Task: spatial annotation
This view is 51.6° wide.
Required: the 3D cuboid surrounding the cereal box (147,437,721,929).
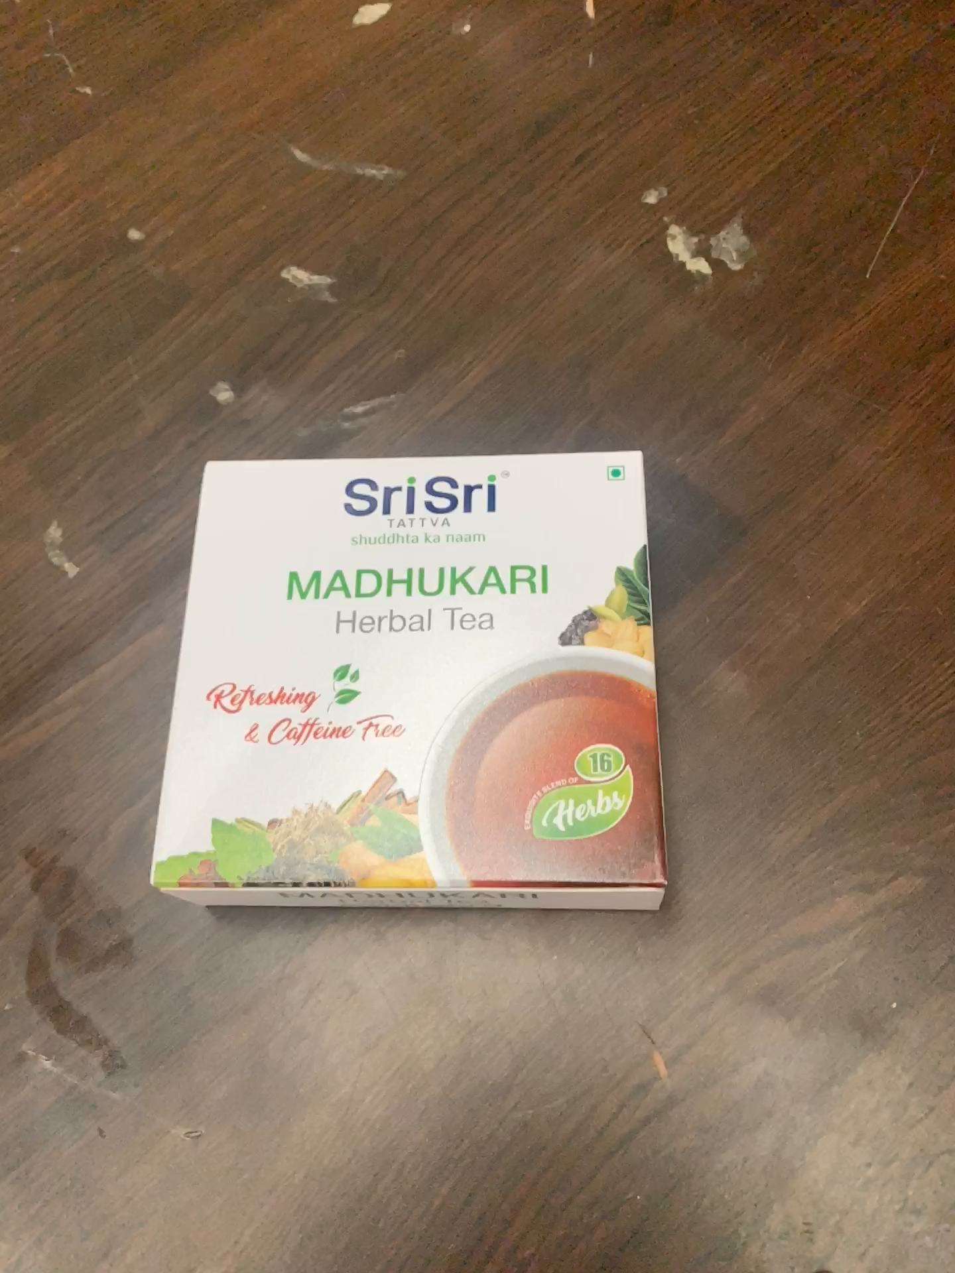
[{"bbox_3d":[-0.008,0.012,0.261,0.130,0.040,0.120,-1,70,6],"label":"cereal box"}]
